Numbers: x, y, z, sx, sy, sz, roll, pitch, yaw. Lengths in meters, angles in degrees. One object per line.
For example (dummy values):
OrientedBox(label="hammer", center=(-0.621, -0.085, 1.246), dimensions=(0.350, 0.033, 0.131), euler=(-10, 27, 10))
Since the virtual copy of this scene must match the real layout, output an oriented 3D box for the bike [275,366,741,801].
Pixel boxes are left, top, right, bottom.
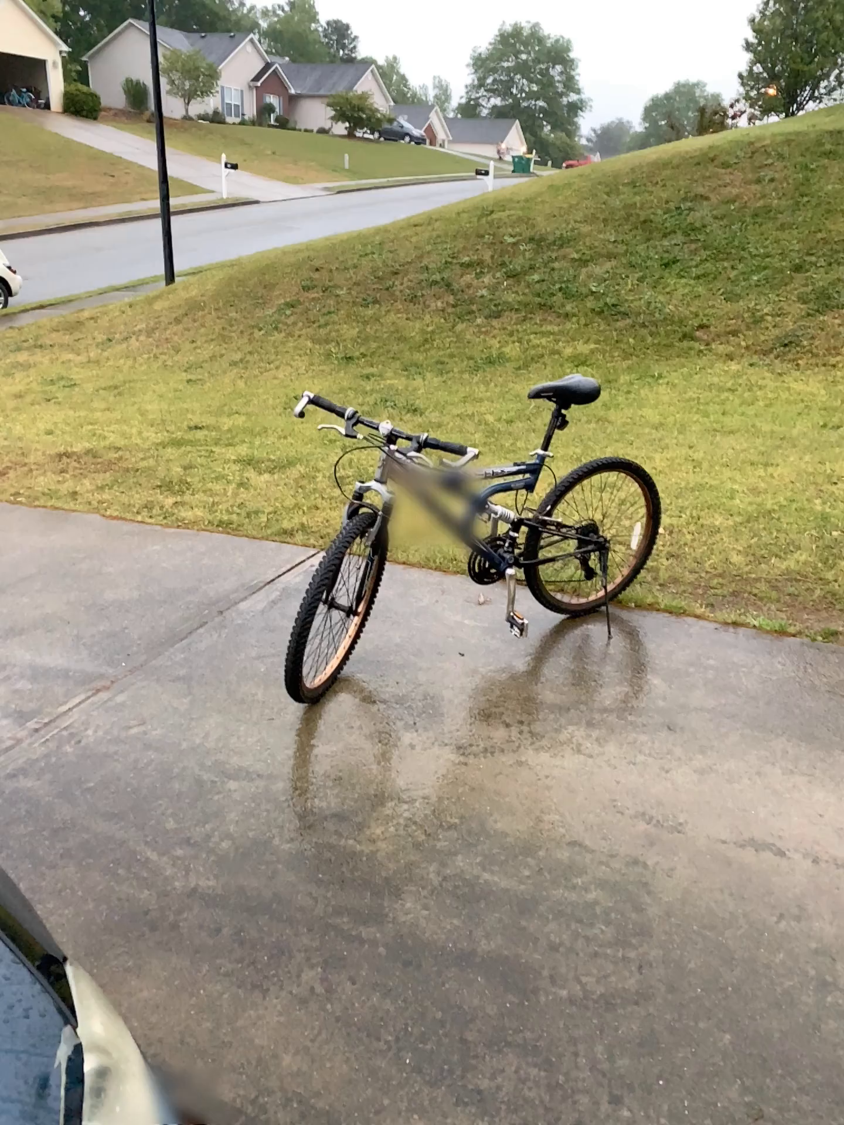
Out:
OrientedBox(label="bike", center=(0.334, -0.070, 2.915), dimensions=(1.691, 0.949, 0.546), euler=(-15, 29, -37))
